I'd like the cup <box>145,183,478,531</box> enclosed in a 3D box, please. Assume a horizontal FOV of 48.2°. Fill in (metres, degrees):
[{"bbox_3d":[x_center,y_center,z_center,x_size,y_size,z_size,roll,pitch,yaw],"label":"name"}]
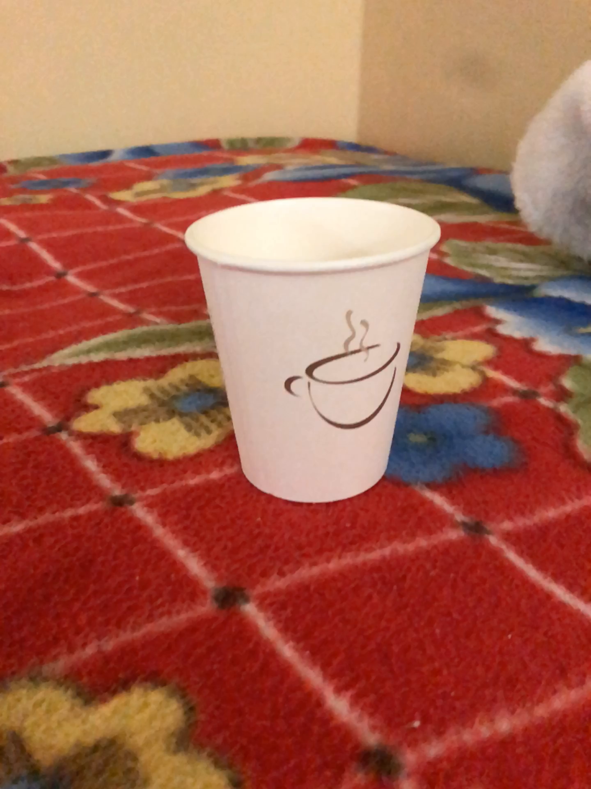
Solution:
[{"bbox_3d":[0.000,-0.019,0.243,0.090,0.090,0.080,-9,32,-15],"label":"cup"}]
